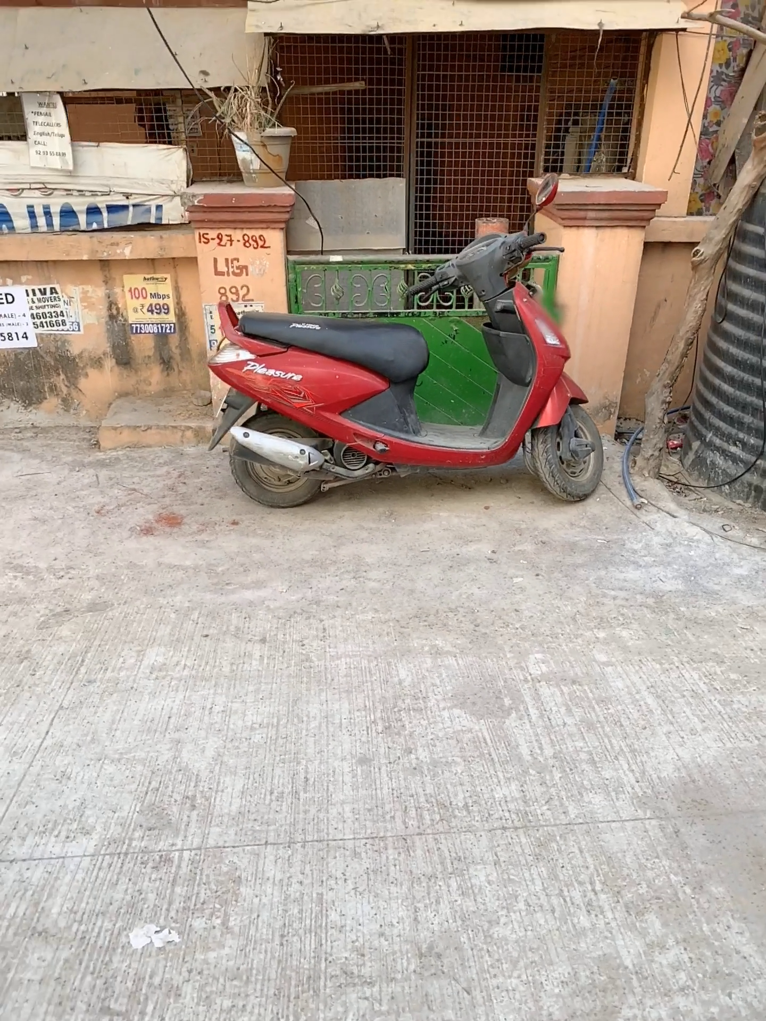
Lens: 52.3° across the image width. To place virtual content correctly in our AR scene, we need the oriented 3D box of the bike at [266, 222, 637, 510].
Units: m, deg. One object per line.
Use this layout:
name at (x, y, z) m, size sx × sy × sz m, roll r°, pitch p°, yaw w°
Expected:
bike at (0.220, -0.606, 3.082) m, size 1.271 × 0.915 × 0.621 m, roll -5°, pitch 27°, yaw -10°
